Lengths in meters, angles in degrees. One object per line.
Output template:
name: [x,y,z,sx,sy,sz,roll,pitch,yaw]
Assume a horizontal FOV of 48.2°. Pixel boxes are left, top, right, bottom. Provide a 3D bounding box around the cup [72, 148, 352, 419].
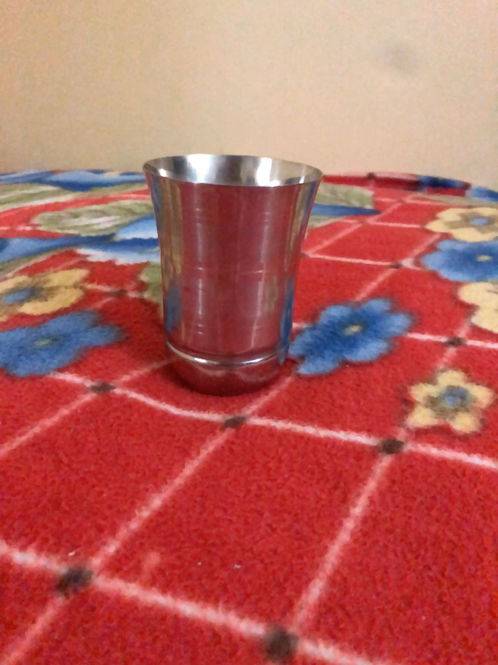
cup: [-0.011,-0.031,0.250,0.087,0.090,0.089,1,22,0]
